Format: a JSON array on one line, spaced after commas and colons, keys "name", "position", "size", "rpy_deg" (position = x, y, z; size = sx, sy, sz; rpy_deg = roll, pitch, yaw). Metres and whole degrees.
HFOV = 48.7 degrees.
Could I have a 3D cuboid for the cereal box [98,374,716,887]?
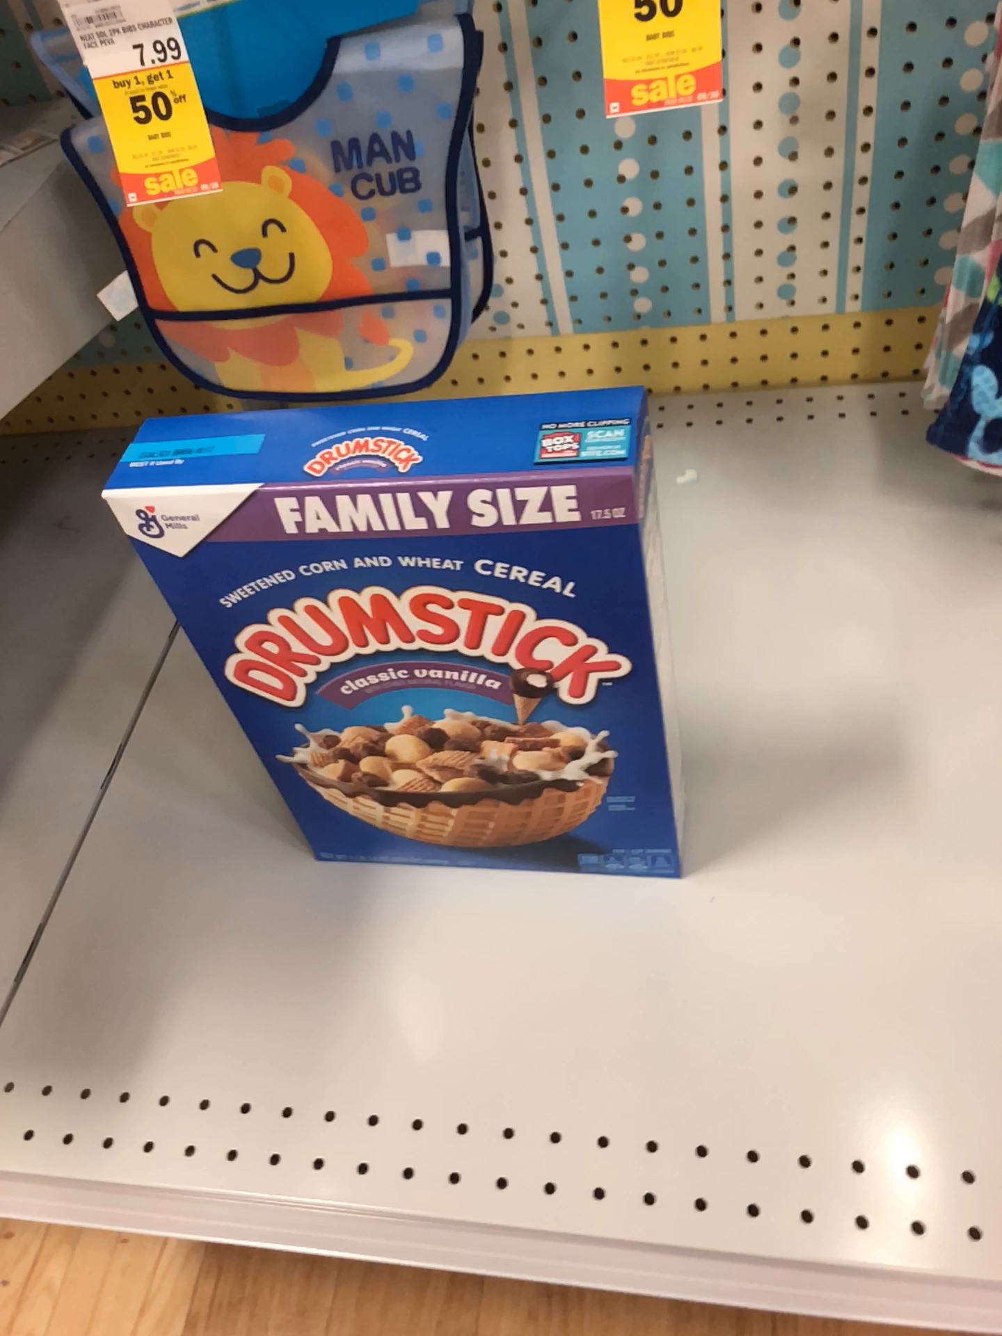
[{"name": "cereal box", "position": [-0.022, 0.001, 0.585], "size": [0.250, 0.299, 0.070], "rpy_deg": [0, 48, 14]}]
